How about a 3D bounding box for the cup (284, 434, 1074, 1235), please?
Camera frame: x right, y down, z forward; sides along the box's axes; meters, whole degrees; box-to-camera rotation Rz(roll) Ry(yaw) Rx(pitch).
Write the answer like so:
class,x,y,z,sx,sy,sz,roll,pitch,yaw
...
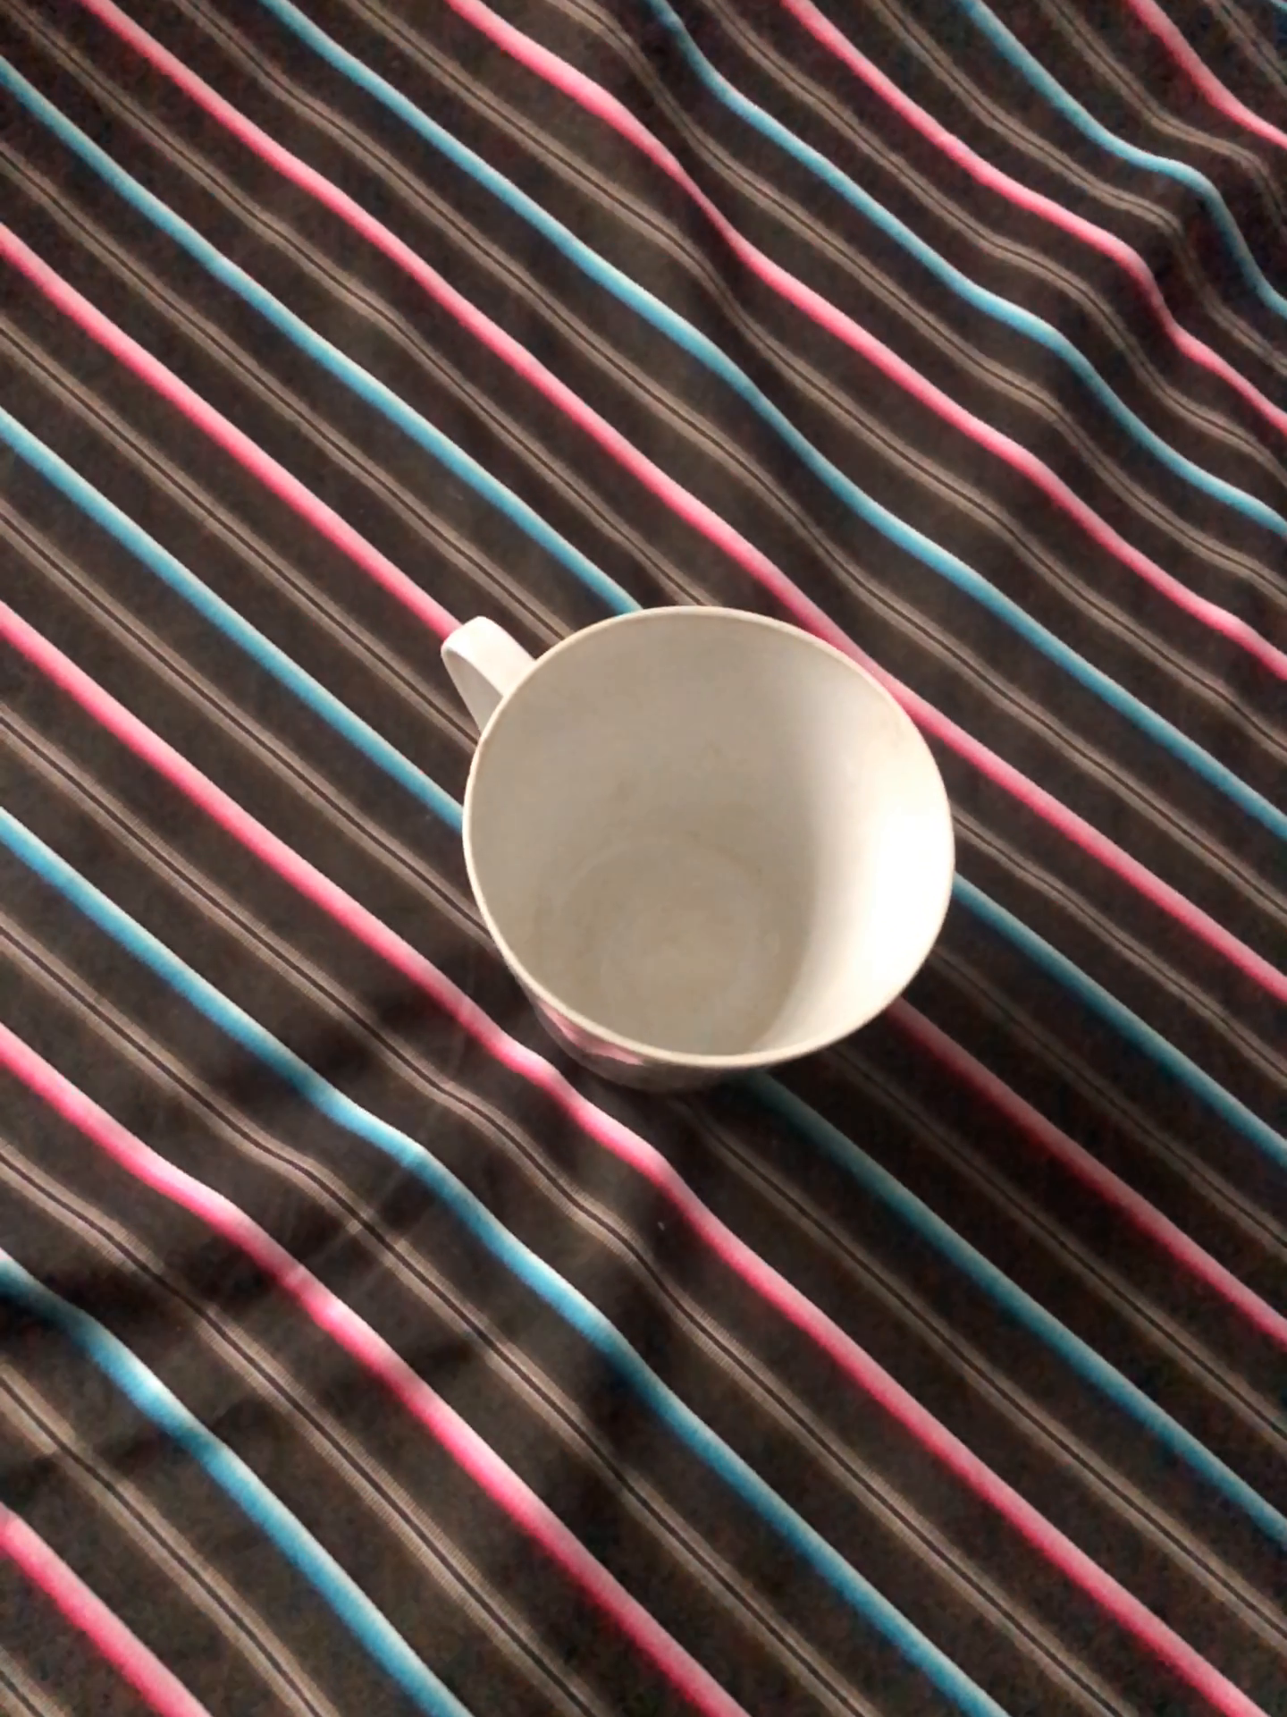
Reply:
class,x,y,z,sx,sy,sz,roll,pitch,yaw
cup,0.003,-0.003,0.230,0.073,0.049,0.094,-33,75,-15
